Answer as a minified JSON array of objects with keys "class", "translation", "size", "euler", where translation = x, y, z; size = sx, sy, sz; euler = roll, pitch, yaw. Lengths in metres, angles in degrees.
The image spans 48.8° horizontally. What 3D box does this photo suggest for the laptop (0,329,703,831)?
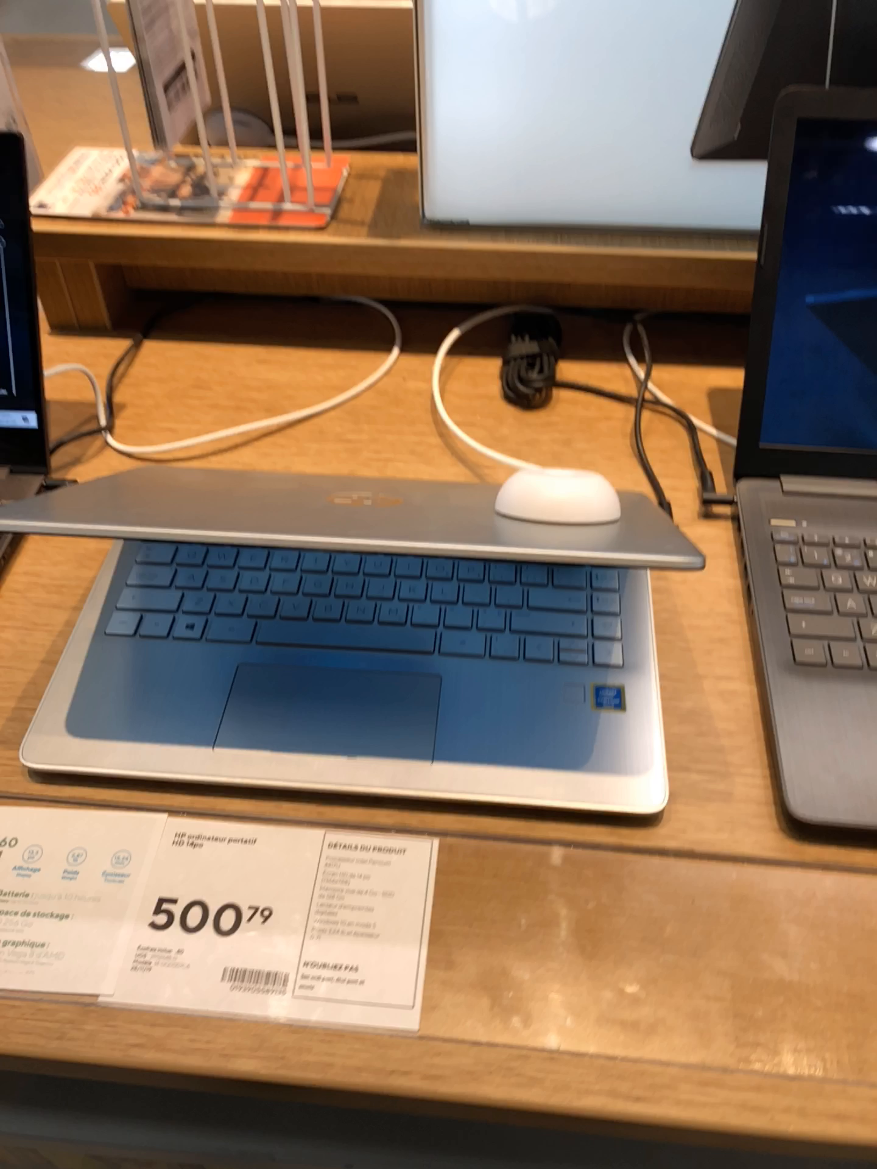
[{"class":"laptop","translation":[-0.045,-0.014,0.493],"size":[0.314,0.110,0.217],"euler":[3,48,5]}]
